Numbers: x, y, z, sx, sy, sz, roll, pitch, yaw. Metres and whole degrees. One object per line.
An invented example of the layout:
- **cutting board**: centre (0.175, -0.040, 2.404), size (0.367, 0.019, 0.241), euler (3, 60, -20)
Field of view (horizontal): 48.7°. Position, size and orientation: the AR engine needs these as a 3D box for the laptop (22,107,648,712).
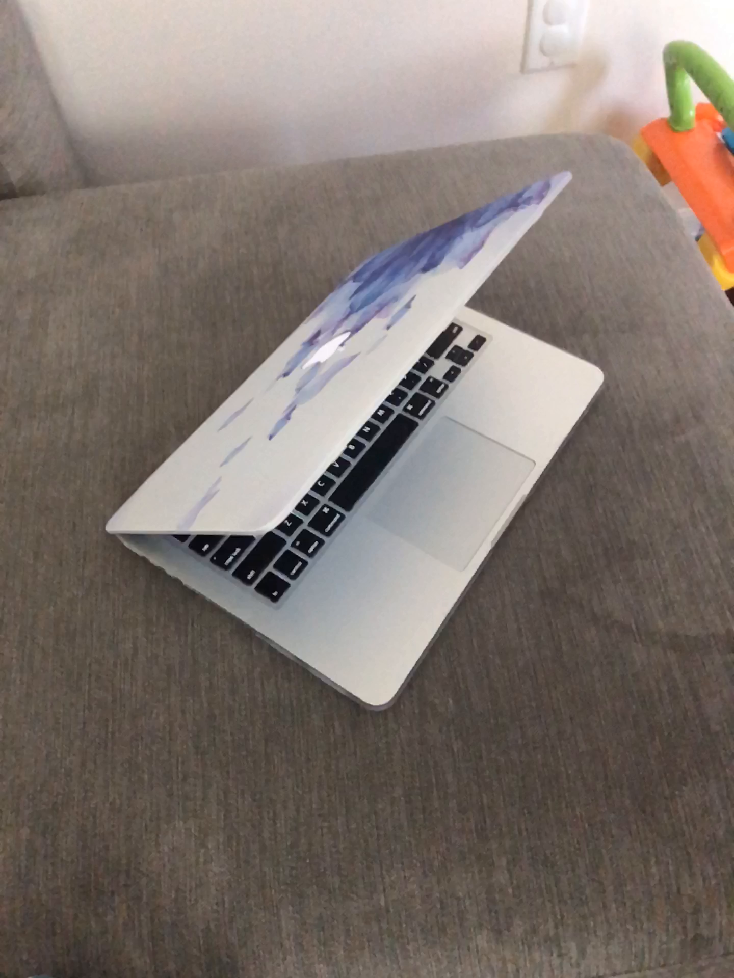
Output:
- **laptop**: centre (0.000, -0.068, 0.513), size (0.217, 0.137, 0.308), euler (29, 61, 17)
